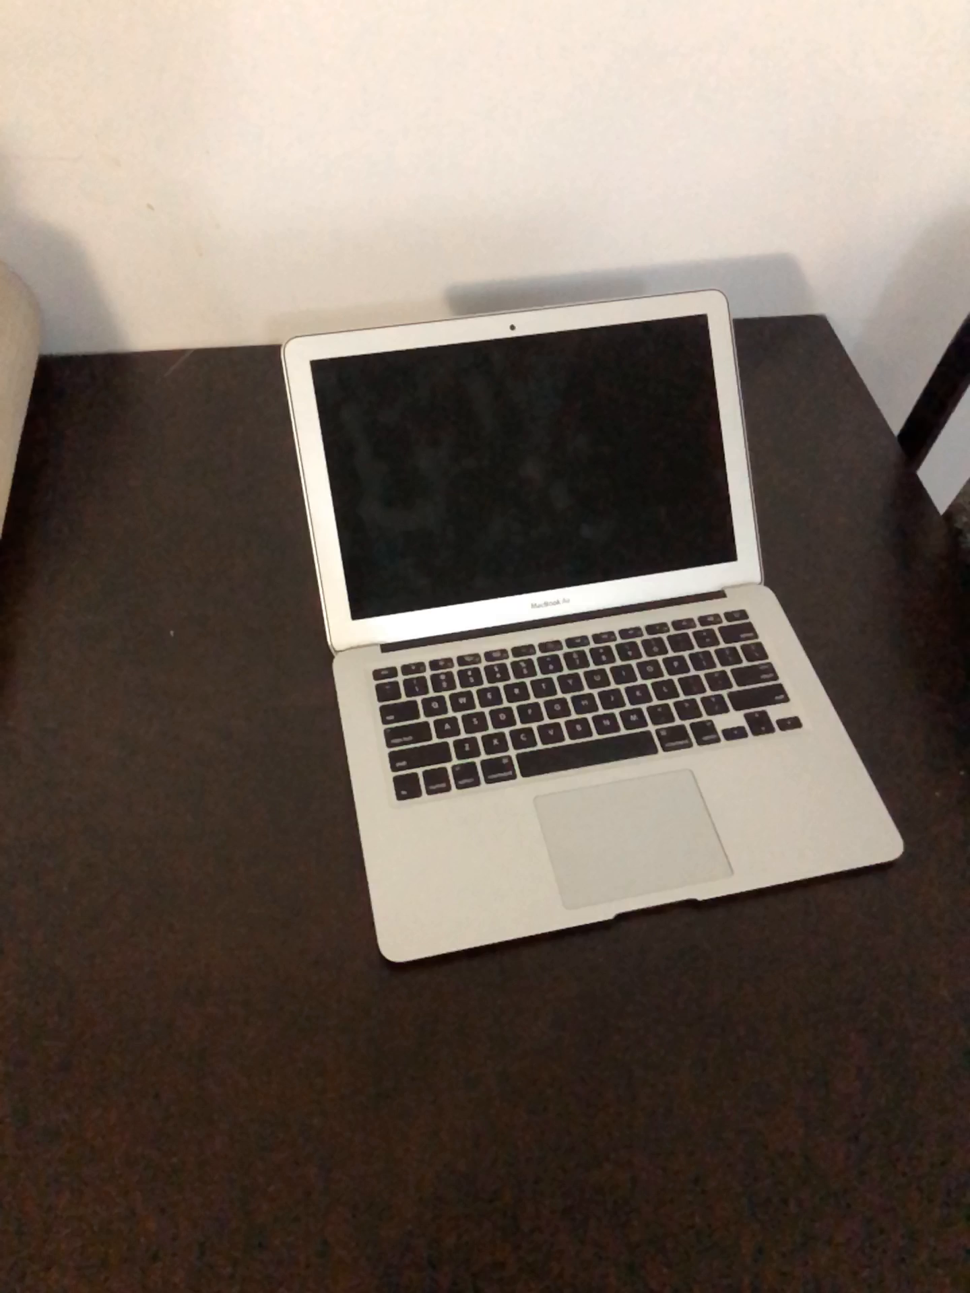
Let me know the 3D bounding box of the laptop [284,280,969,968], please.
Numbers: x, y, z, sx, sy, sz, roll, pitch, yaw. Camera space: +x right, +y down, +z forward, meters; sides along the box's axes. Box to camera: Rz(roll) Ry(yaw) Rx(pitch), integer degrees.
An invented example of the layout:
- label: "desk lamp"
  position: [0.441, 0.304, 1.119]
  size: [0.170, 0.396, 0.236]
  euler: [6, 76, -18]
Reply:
- label: "laptop"
  position: [0.057, -0.040, 0.640]
  size: [0.303, 0.136, 0.362]
  euler: [-9, 52, -9]
